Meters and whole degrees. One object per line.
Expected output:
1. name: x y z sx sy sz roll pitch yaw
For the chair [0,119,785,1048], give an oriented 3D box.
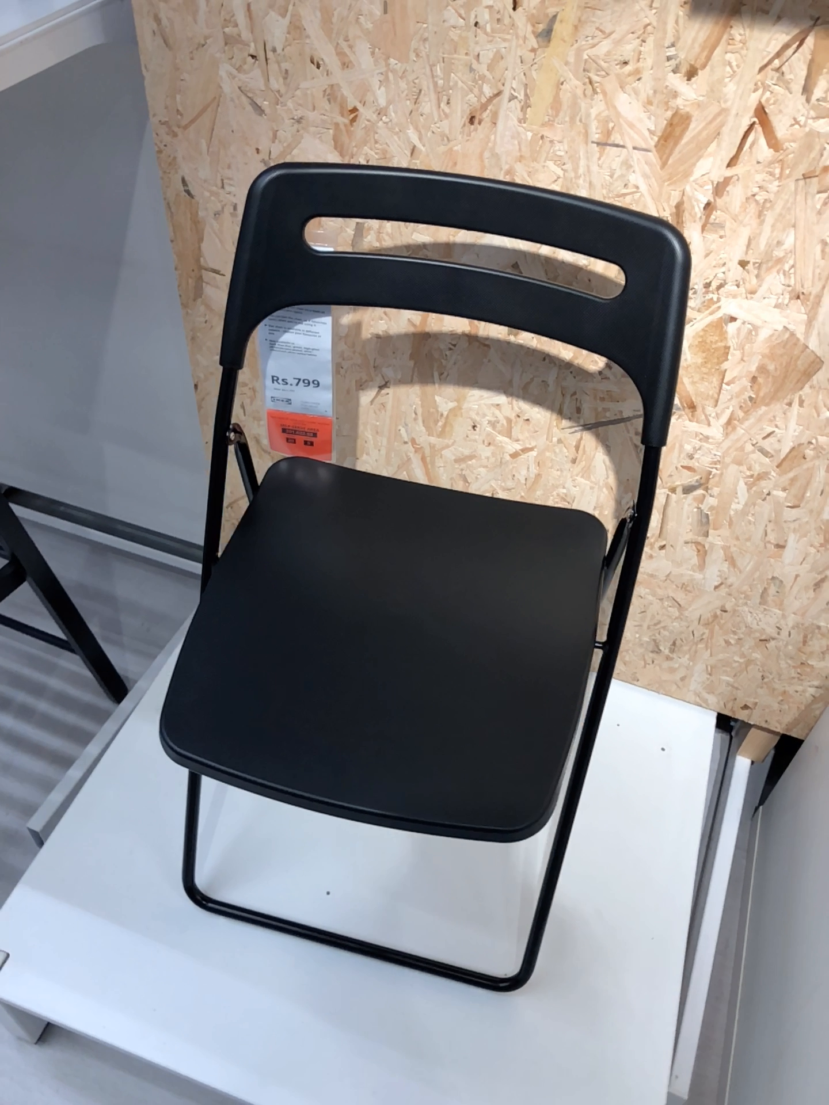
1. chair: 0.011 0.058 0.953 0.490 0.735 0.523 13 47 9
